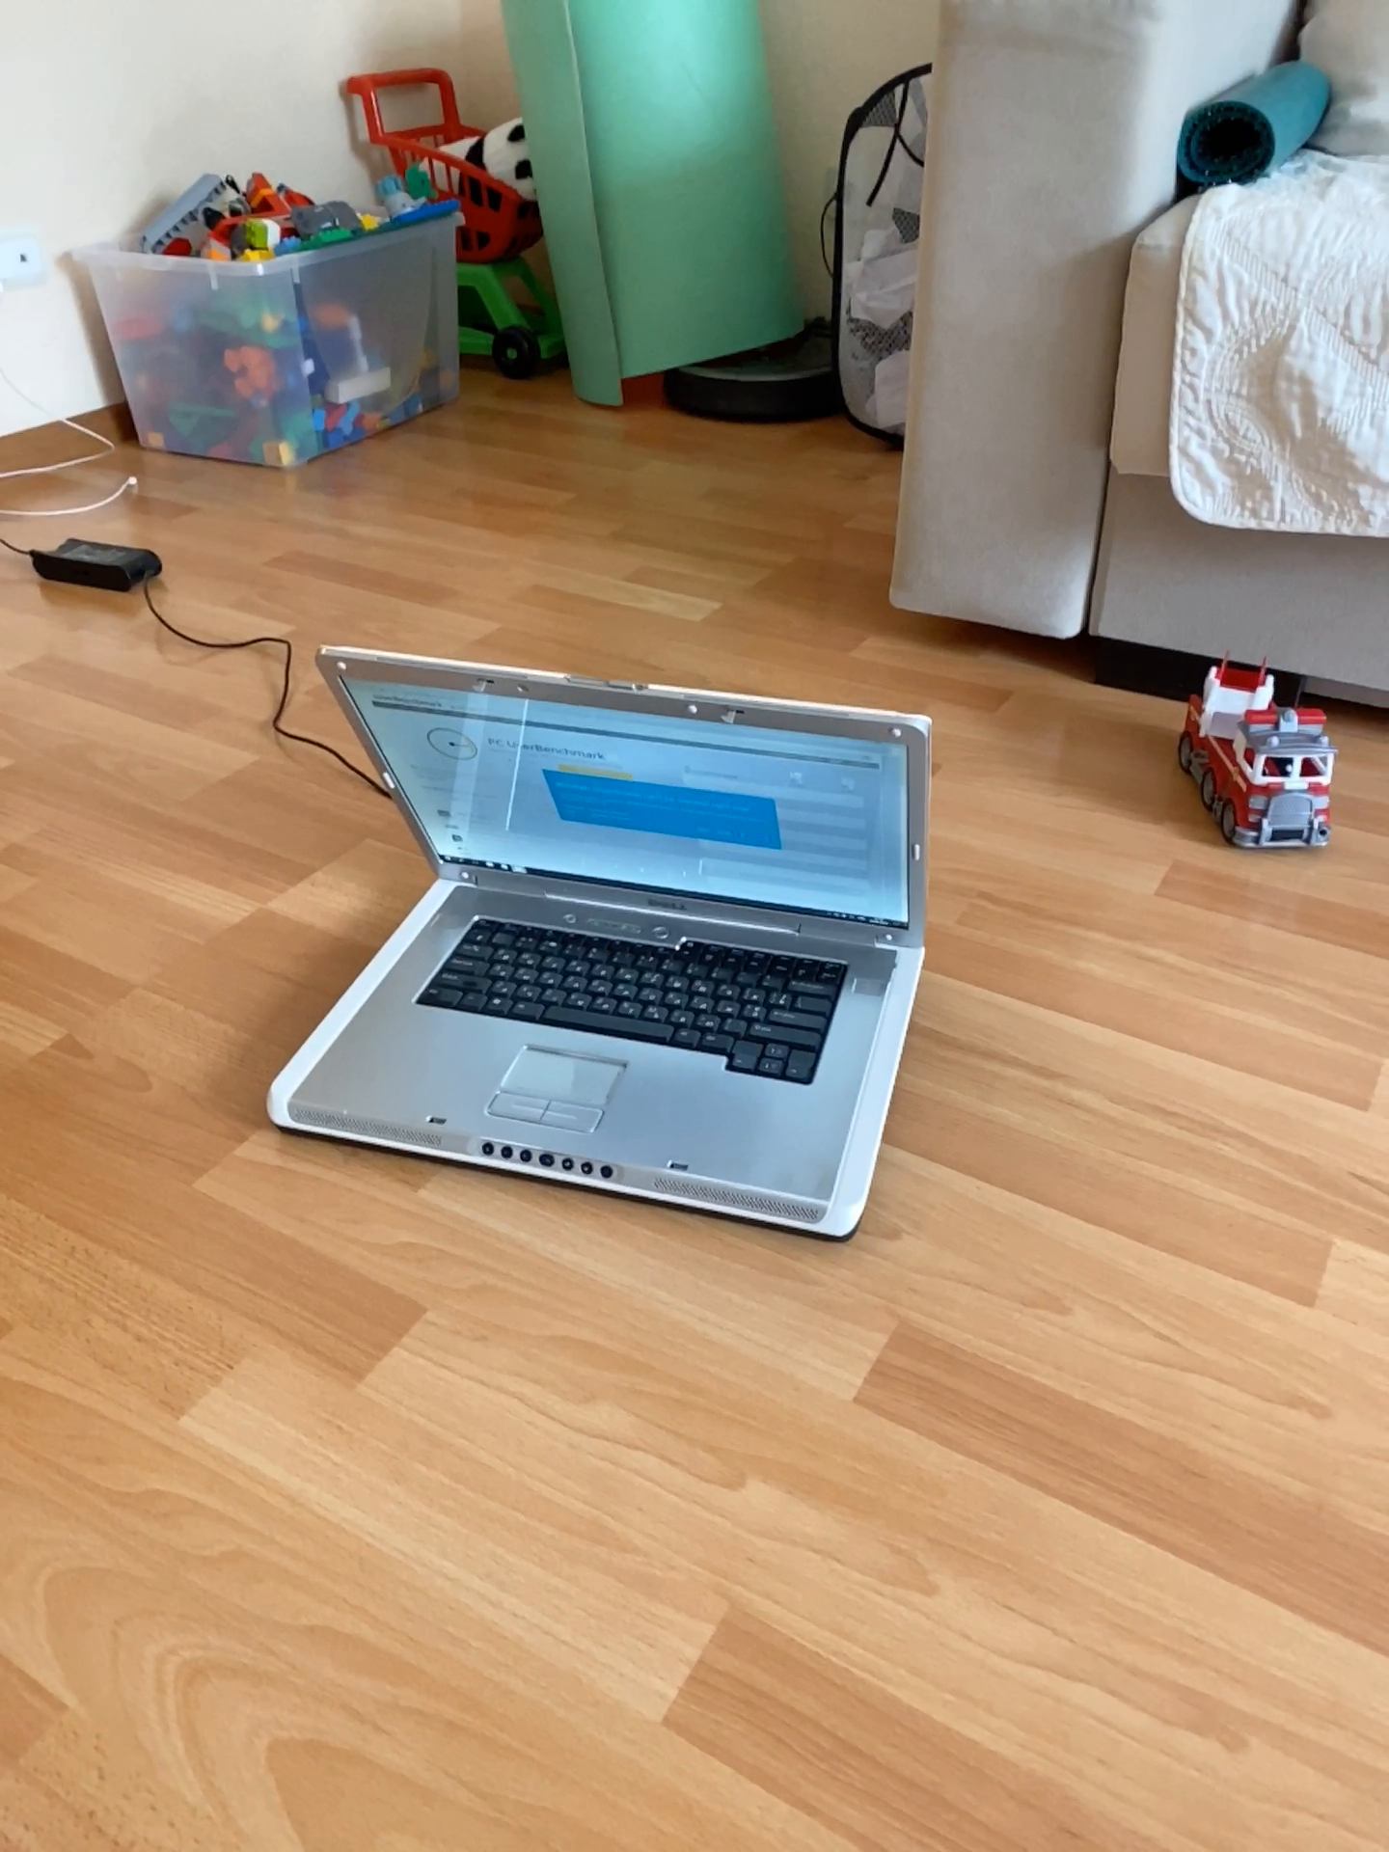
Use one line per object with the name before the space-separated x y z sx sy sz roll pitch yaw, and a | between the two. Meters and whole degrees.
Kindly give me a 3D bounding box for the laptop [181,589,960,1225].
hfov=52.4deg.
laptop | -0.053 -0.032 0.890 0.386 0.238 0.275 9 34 13
